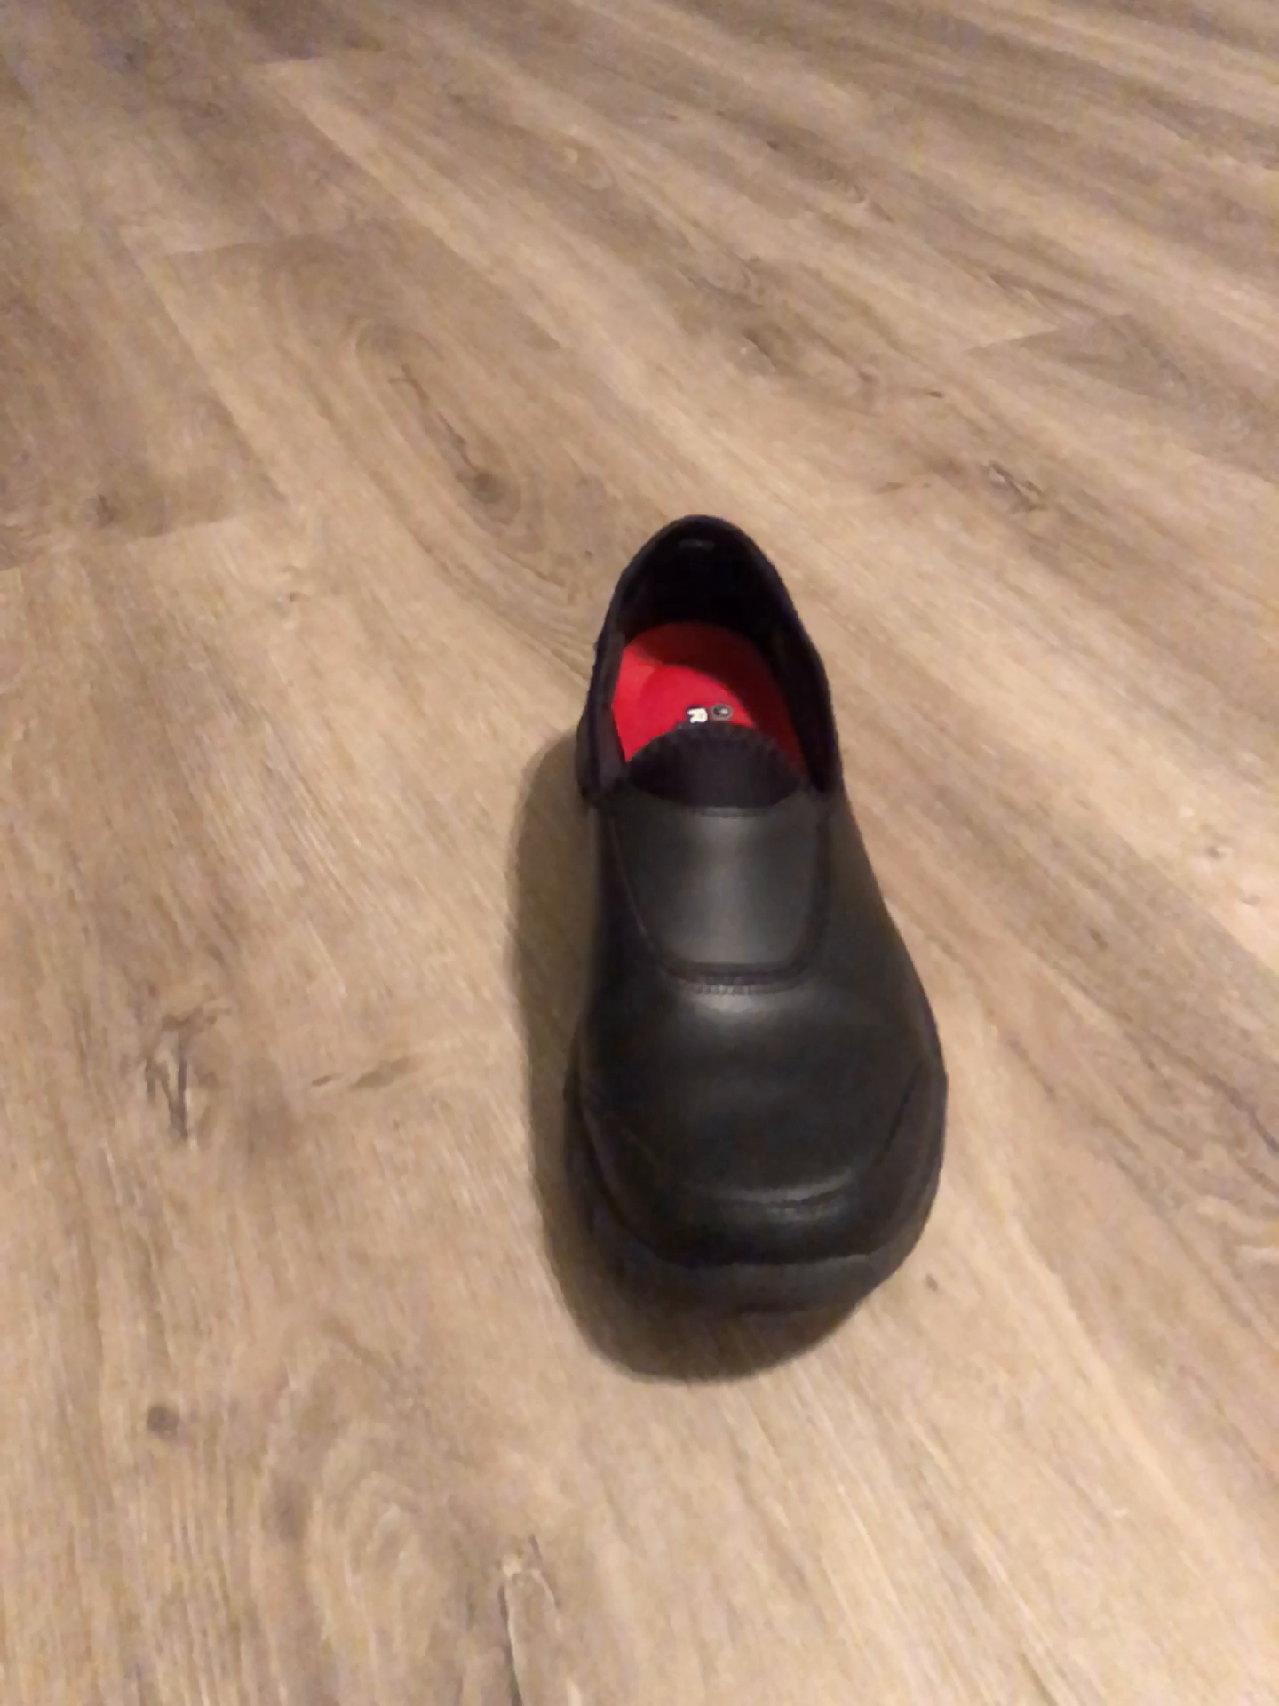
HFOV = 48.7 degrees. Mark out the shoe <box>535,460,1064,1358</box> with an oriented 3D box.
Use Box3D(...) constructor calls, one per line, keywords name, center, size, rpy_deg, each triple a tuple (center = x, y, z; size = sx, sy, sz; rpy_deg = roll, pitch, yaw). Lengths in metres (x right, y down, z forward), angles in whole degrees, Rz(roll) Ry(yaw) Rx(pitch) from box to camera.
Box3D(name="shoe", center=(0.022, -0.006, 0.371), size=(0.090, 0.090, 0.241), rpy_deg=(-3, 41, -3))
